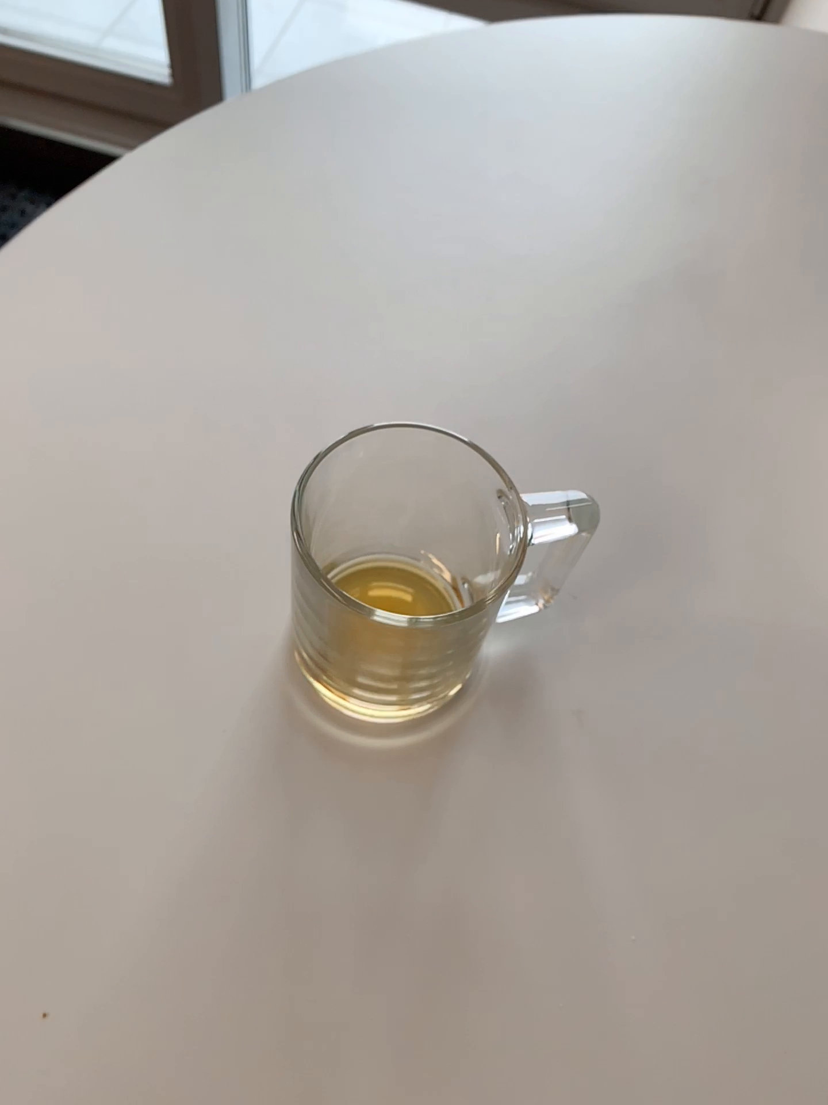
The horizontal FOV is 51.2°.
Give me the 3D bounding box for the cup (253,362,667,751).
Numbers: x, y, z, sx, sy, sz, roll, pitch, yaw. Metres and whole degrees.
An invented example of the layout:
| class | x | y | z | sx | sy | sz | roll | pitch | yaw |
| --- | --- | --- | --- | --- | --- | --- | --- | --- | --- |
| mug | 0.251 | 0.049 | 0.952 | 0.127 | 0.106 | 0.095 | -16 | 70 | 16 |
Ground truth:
| class | x | y | z | sx | sy | sz | roll | pitch | yaw |
| --- | --- | --- | --- | --- | --- | --- | --- | --- | --- |
| cup | 0.005 | 0.003 | 0.277 | 0.101 | 0.091 | 0.082 | -5 | 61 | -11 |
